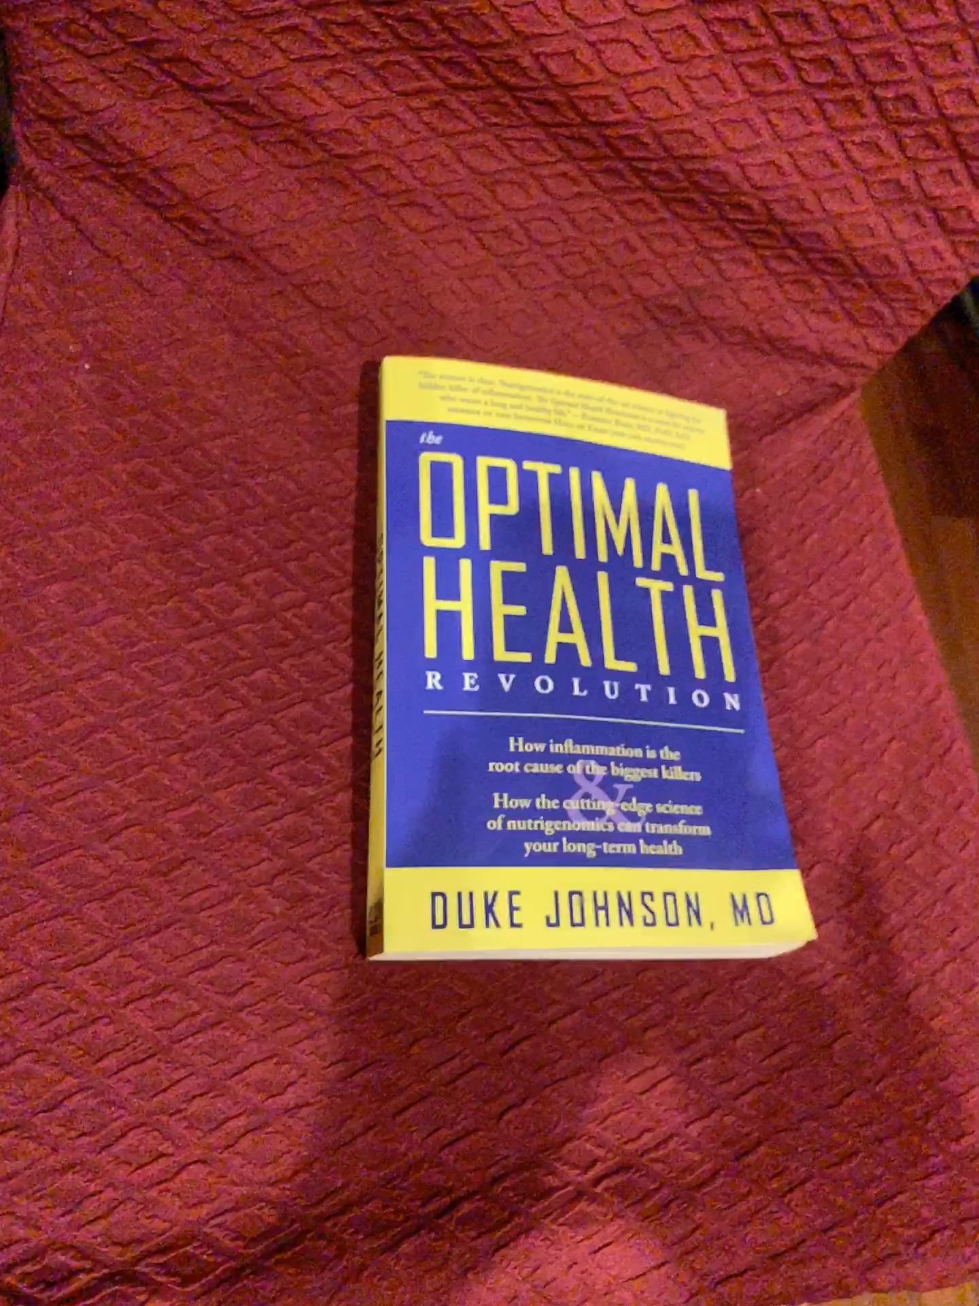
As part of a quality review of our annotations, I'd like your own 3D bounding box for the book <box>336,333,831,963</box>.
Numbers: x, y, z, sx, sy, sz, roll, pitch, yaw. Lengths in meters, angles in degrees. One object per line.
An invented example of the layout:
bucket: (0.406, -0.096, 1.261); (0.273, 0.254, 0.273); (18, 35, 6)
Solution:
book: (0.030, 0.002, 0.392); (0.161, 0.060, 0.222); (5, 68, -18)
